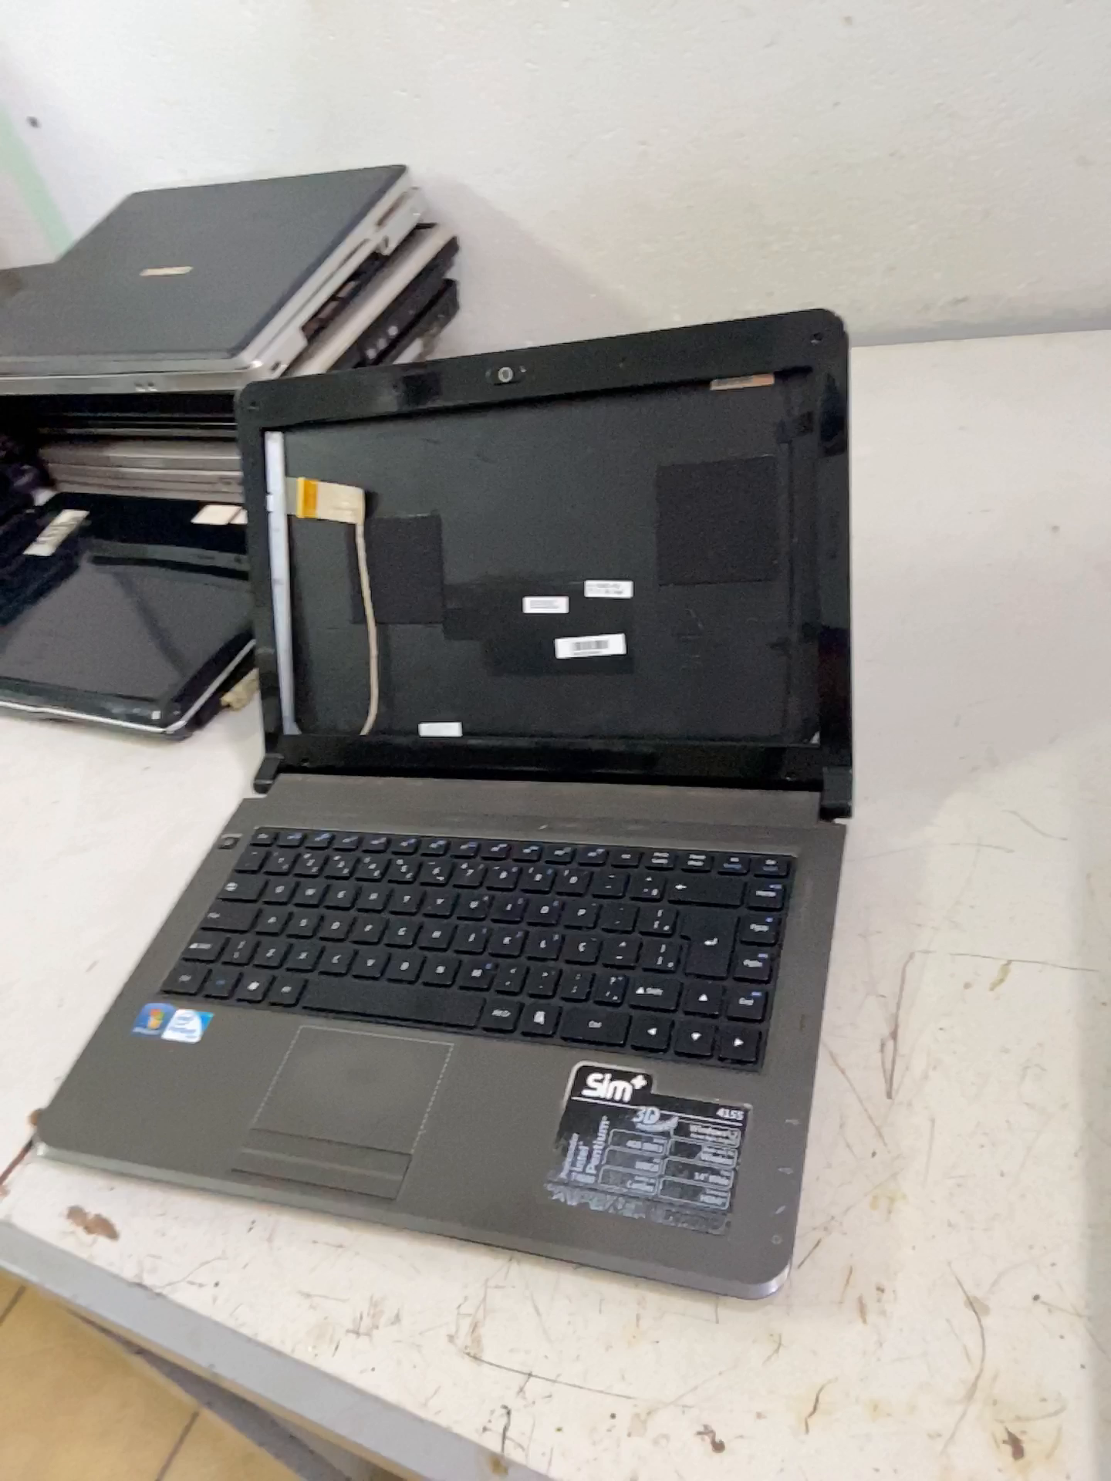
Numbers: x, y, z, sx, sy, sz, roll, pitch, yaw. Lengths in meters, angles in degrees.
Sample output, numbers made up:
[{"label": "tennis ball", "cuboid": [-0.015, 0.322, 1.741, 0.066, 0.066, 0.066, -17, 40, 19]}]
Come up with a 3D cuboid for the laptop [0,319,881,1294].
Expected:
[{"label": "laptop", "cuboid": [-0.052, -0.002, 0.522, 0.343, 0.174, 0.366, 1, 45, 23]}]
